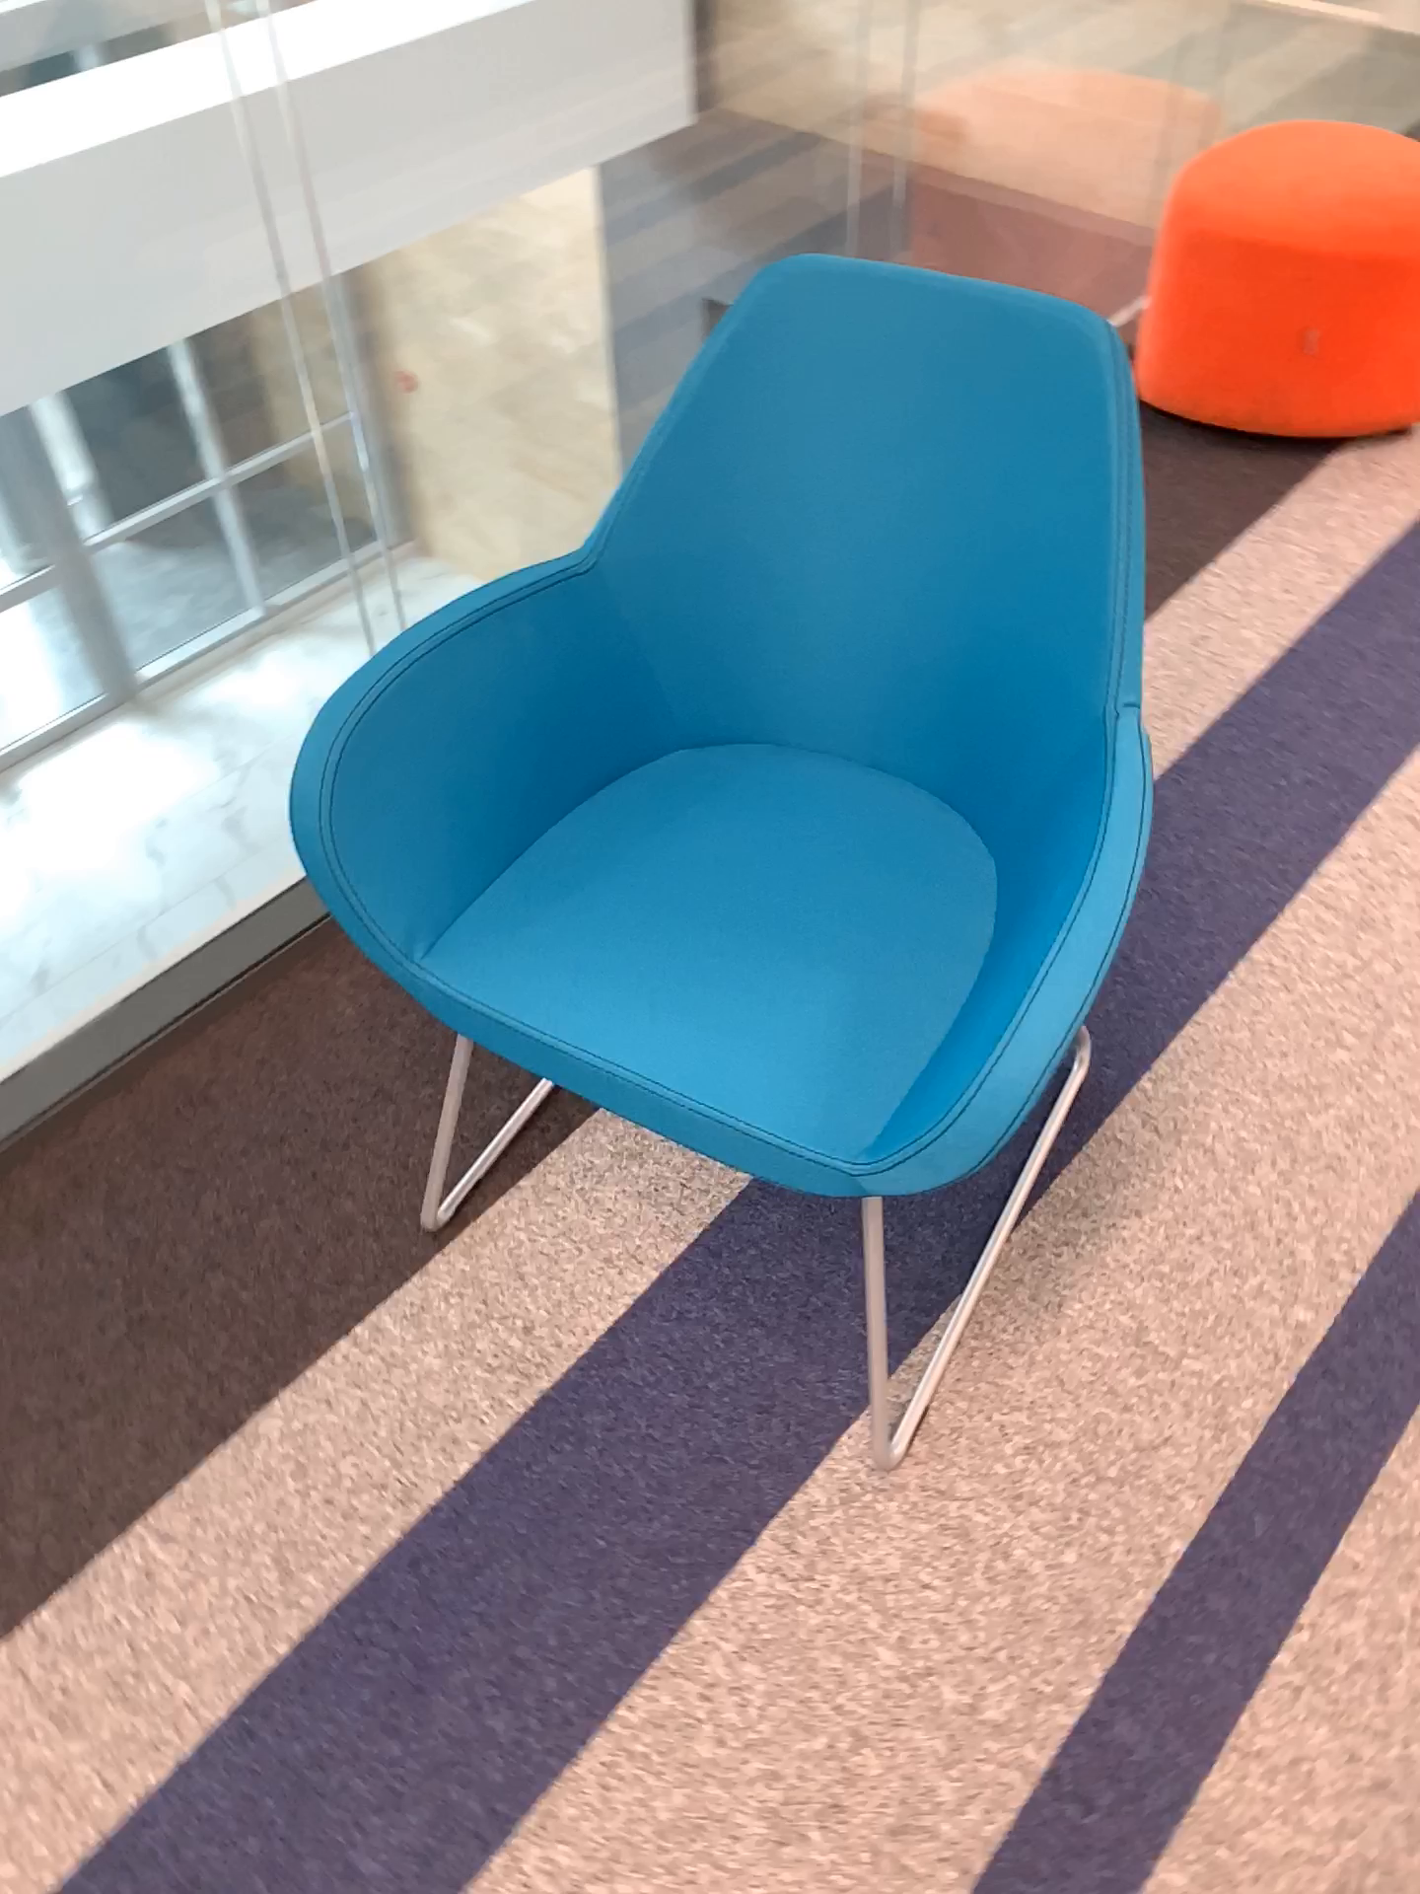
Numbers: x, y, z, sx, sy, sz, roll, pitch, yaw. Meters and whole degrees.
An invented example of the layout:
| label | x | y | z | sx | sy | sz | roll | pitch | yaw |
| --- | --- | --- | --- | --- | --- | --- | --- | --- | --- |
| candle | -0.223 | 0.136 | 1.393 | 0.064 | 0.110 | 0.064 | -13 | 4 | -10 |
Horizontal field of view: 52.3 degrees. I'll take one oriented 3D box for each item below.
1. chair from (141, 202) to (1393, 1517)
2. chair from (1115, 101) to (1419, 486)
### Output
| label | x | y | z | sx | sy | sz | roll | pitch | yaw |
| --- | --- | --- | --- | --- | --- | --- | --- | --- | --- |
| chair | 0.081 | -0.083 | 1.350 | 0.672 | 0.836 | 0.652 | 23 | 52 | 22 |
| chair | 1.272 | -1.335 | 2.908 | 0.640 | 0.396 | 0.652 | 23 | 52 | 22 |
